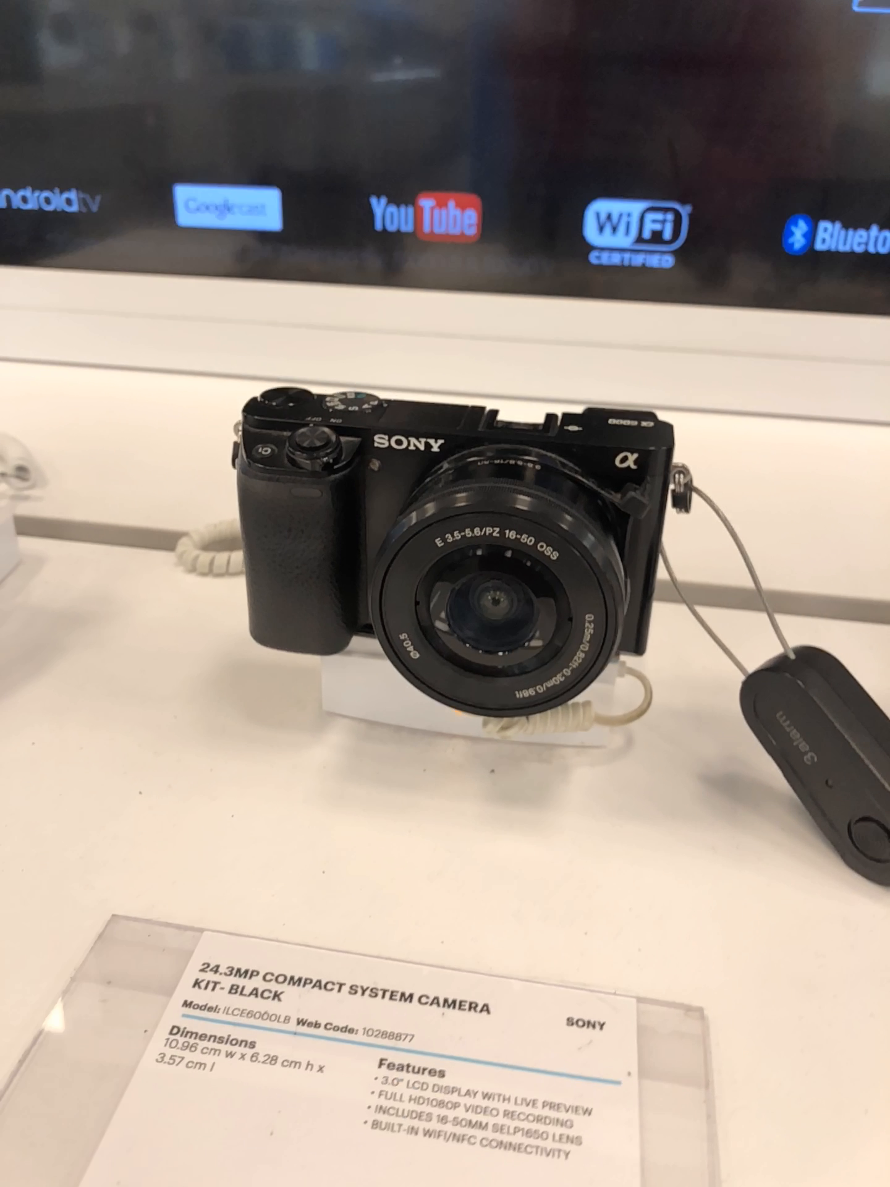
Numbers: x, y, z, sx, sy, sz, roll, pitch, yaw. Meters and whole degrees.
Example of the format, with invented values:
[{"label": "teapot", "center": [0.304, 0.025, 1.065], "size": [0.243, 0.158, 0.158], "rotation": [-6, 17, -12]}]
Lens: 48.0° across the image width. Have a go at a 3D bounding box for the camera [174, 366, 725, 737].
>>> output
[{"label": "camera", "center": [0.004, -0.016, 0.280], "size": [0.130, 0.070, 0.070], "rotation": [5, 29, 7]}]
